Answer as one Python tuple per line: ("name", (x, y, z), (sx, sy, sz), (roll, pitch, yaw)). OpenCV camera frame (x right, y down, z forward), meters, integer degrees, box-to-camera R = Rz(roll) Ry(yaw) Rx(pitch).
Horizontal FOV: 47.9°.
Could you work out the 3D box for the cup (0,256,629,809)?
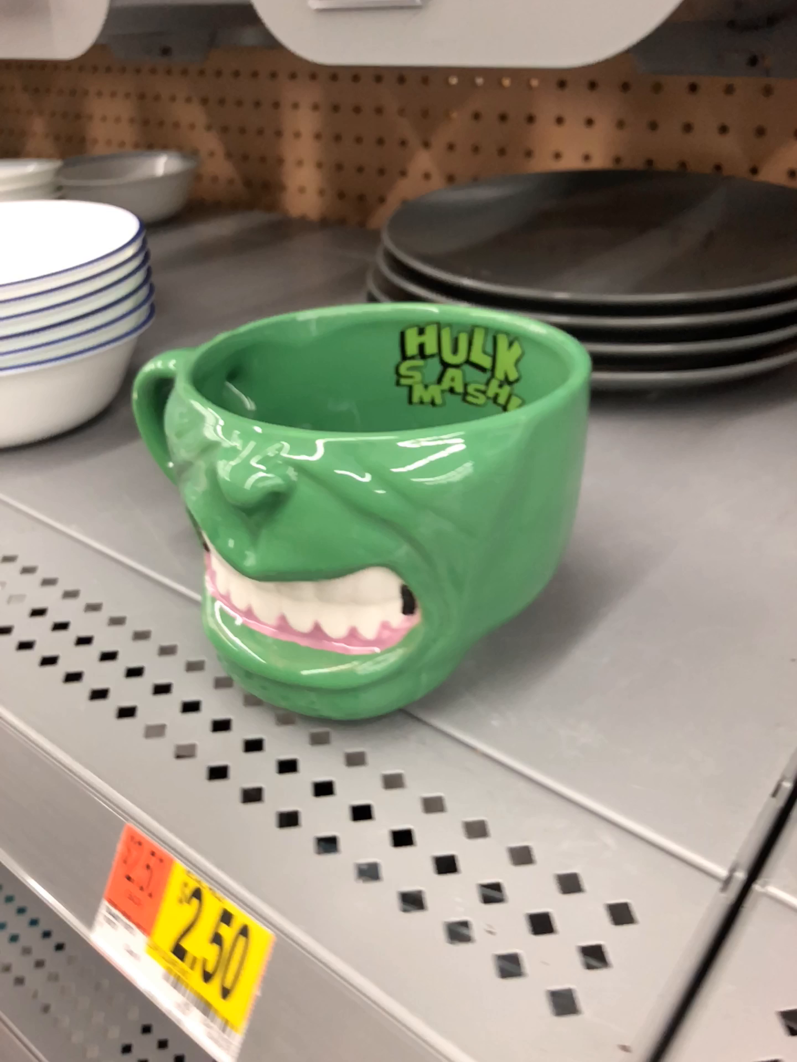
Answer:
("cup", (-0.027, -0.016, 0.274), (0.148, 0.089, 0.116), (19, 37, 31))
